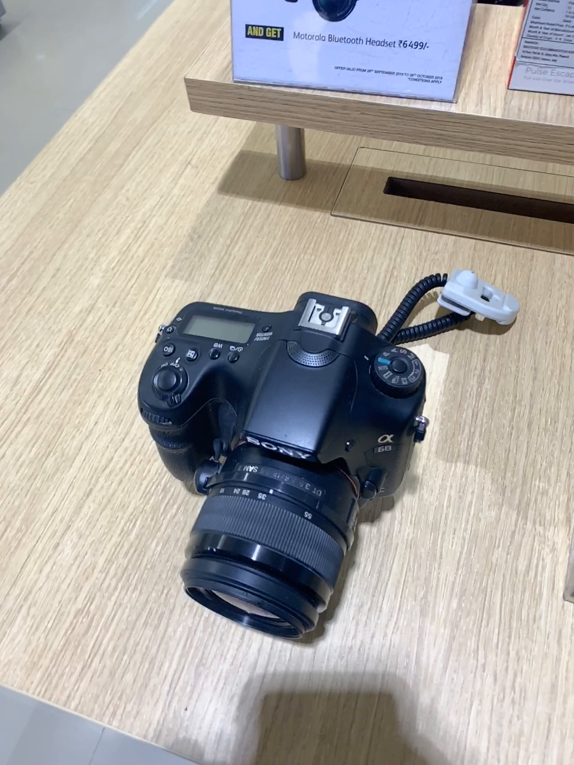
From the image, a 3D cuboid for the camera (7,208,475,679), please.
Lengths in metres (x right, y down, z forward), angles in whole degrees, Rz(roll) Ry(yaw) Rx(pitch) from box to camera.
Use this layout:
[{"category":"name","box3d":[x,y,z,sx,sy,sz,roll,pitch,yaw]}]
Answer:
[{"category":"camera","box3d":[-0.006,0.019,0.281,0.140,0.090,0.170,15,58,15]}]
